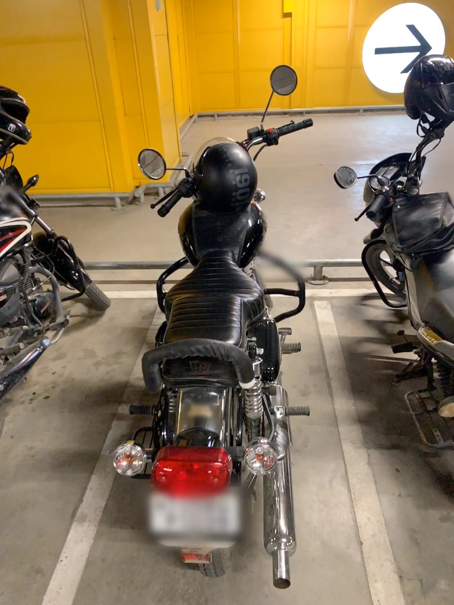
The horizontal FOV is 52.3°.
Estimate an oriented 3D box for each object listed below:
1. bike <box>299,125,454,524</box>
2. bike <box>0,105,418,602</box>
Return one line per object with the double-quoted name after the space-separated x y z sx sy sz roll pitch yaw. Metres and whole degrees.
0.731 -0.136 1.936 0.598 0.925 1.727 -2 28 2 "bike"
-0.136 -0.091 1.843 0.763 1.051 1.834 -4 30 -2 "bike"
